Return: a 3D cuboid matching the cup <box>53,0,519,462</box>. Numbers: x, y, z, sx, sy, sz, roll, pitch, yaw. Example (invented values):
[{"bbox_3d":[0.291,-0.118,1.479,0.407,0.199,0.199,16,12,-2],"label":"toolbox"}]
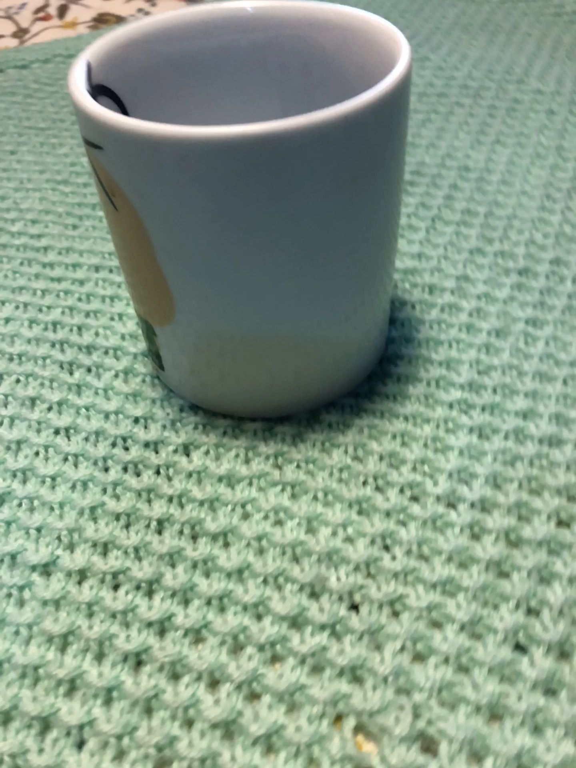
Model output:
[{"bbox_3d":[-0.011,-0.067,0.208,0.090,0.099,0.131,-14,48,-10],"label":"cup"}]
